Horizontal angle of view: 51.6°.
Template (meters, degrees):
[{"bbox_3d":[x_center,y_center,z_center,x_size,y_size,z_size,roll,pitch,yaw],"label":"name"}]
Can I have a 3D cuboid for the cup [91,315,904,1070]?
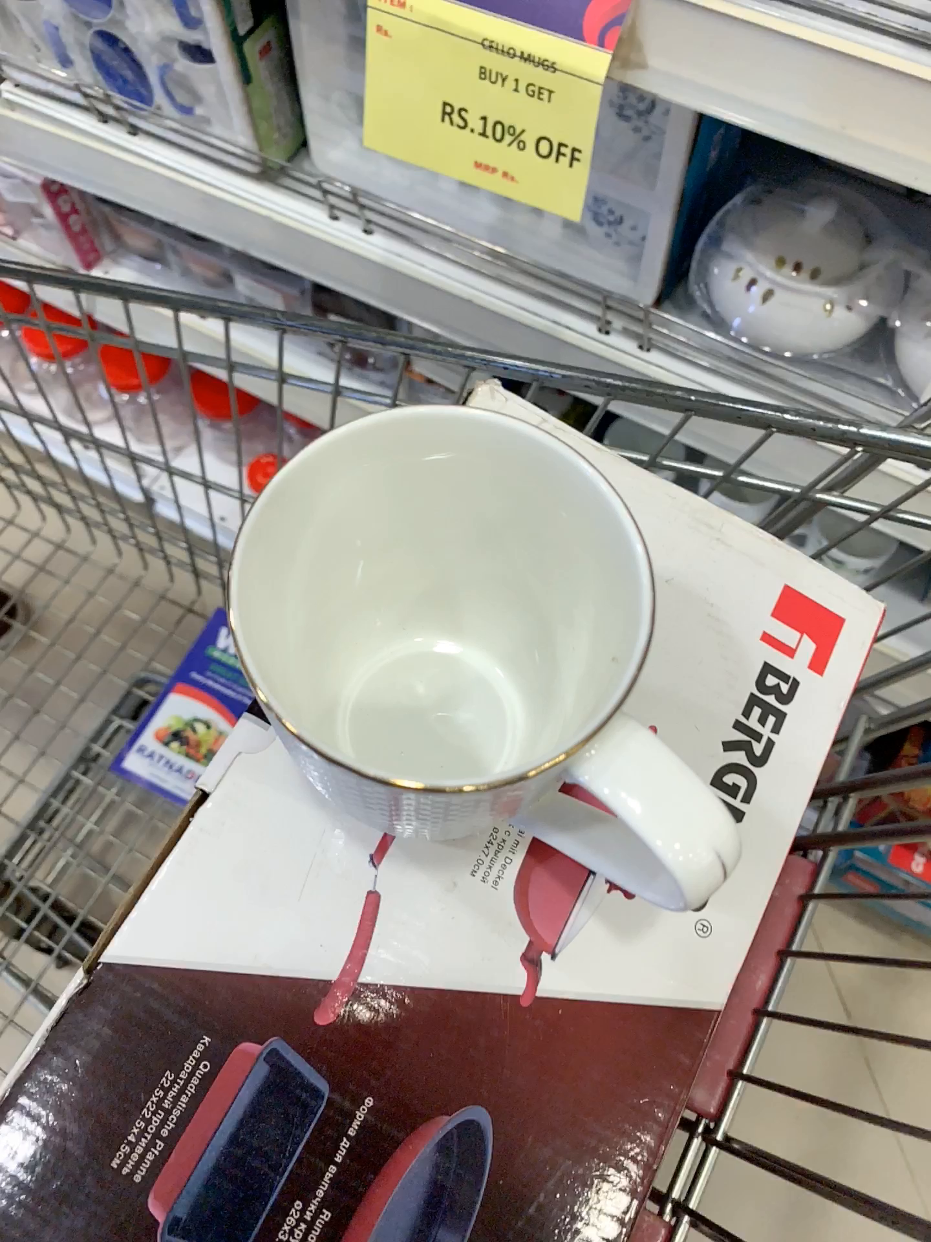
[{"bbox_3d":[0.005,0.018,0.214,0.120,0.080,0.090,39,72,15],"label":"cup"}]
